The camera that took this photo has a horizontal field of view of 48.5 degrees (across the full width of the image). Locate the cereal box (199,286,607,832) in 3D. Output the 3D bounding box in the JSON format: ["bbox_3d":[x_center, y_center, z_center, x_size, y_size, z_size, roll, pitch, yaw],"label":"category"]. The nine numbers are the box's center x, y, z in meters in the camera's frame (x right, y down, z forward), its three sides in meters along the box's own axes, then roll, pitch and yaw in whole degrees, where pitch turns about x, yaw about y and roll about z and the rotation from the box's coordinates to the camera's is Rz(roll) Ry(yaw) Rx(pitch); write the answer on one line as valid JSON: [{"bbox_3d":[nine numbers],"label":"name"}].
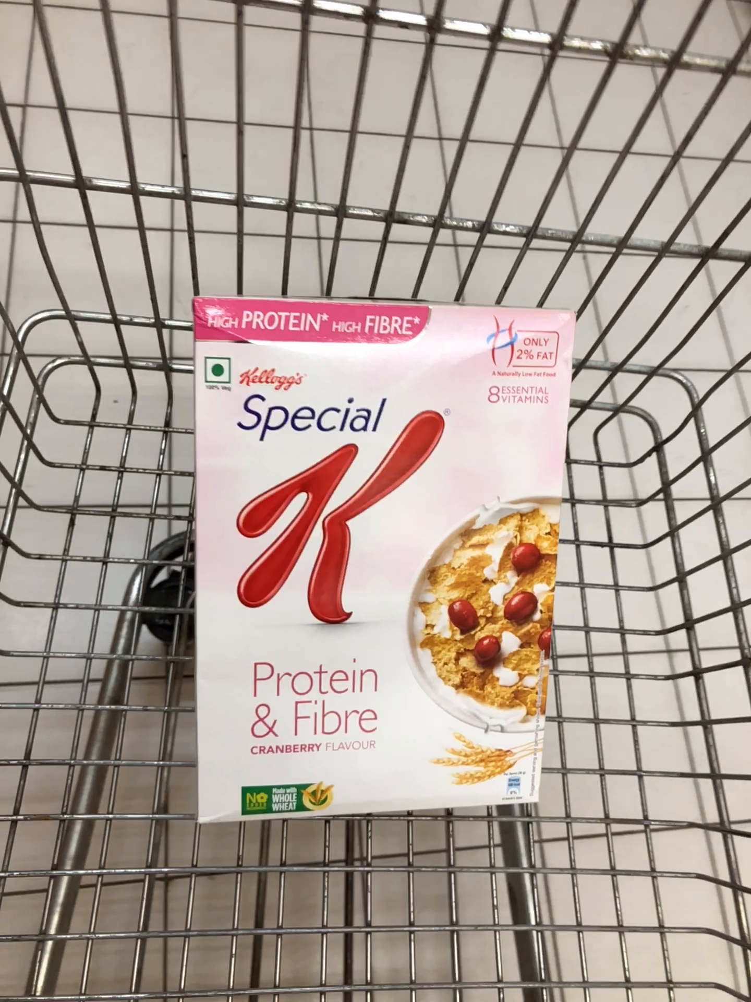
[{"bbox_3d":[0.001,0.026,0.459,0.190,0.100,0.270,0,104,-11],"label":"cereal box"}]
